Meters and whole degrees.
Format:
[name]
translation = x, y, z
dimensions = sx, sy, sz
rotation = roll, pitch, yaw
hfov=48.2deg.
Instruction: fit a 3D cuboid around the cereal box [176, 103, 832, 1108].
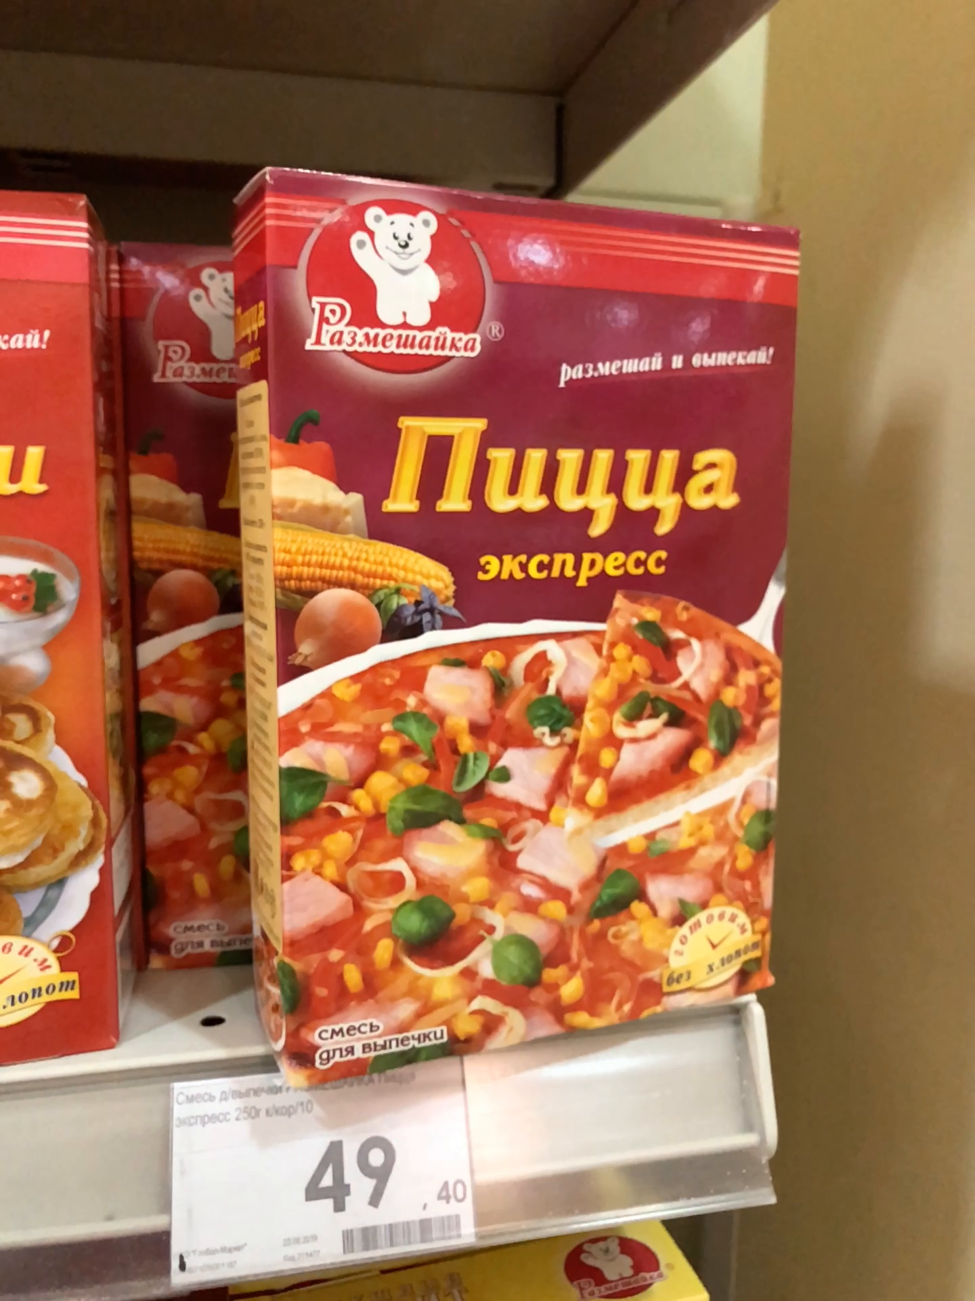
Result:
[cereal box]
translation = 0.006, -0.009, 0.250
dimensions = 0.140, 0.190, 0.040
rotation = -3, 7, -22
